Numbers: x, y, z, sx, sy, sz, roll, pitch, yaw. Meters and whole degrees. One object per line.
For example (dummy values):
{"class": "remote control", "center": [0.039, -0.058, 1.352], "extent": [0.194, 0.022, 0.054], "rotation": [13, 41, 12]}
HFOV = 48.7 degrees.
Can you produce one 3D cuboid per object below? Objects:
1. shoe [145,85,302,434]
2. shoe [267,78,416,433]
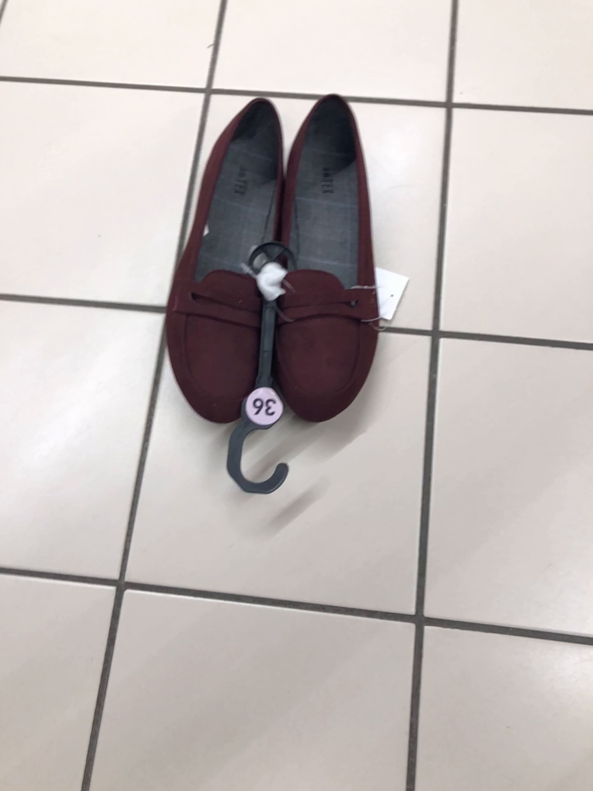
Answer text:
{"class": "shoe", "center": [-0.044, -0.098, 0.460], "extent": [0.078, 0.057, 0.240], "rotation": [3, 74, 4]}
{"class": "shoe", "center": [0.027, -0.099, 0.457], "extent": [0.078, 0.056, 0.240], "rotation": [-4, 74, 2]}
